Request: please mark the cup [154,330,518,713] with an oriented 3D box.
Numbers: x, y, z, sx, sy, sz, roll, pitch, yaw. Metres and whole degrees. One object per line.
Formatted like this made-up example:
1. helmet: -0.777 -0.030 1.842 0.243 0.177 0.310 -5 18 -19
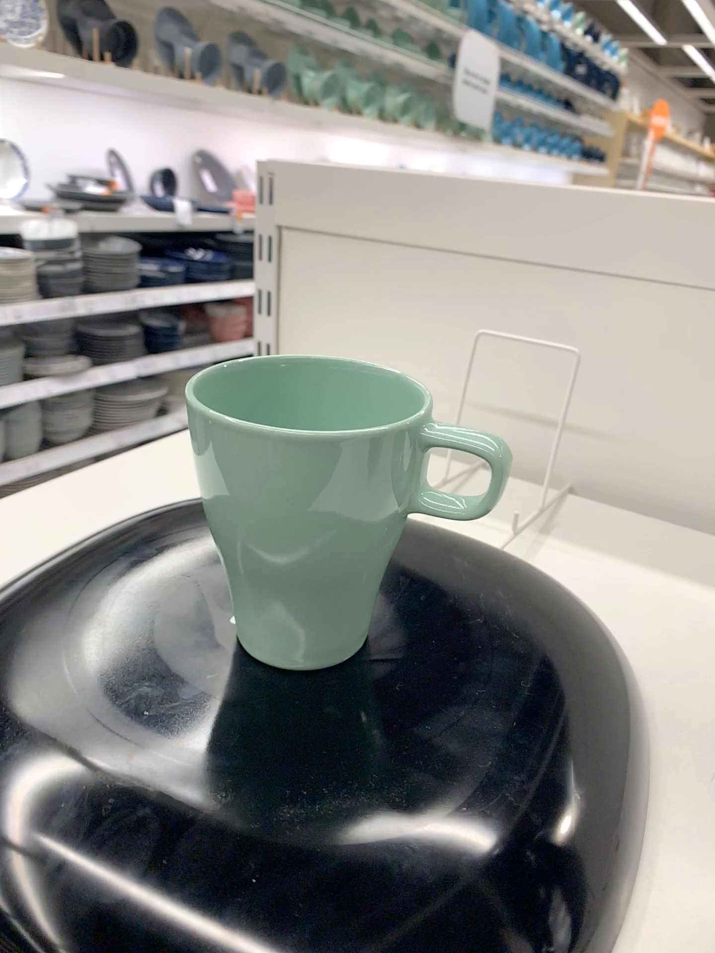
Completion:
1. cup: -0.005 0.010 0.274 0.110 0.100 0.080 9 22 9
